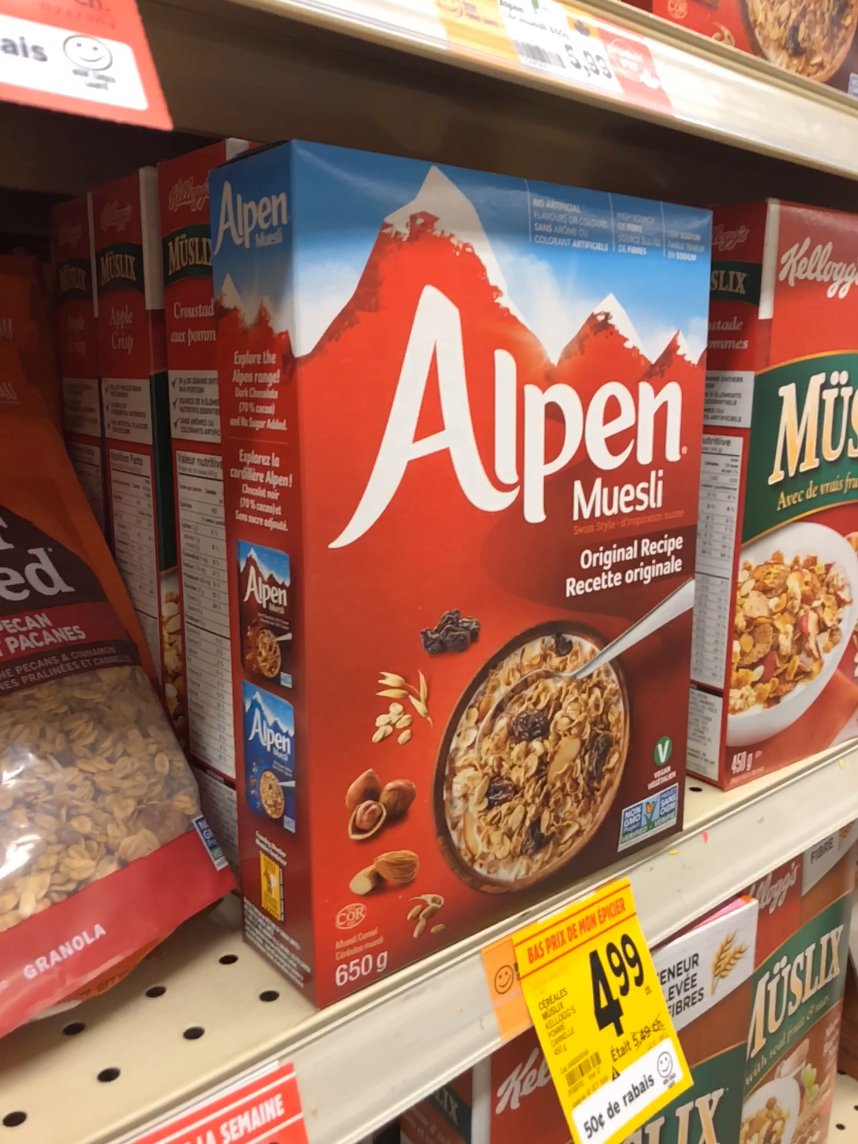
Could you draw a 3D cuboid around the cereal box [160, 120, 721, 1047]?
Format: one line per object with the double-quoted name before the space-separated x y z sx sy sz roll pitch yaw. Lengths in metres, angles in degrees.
"cereal box" 0.013 -0.003 0.319 0.180 0.239 0.060 -9 15 -40
